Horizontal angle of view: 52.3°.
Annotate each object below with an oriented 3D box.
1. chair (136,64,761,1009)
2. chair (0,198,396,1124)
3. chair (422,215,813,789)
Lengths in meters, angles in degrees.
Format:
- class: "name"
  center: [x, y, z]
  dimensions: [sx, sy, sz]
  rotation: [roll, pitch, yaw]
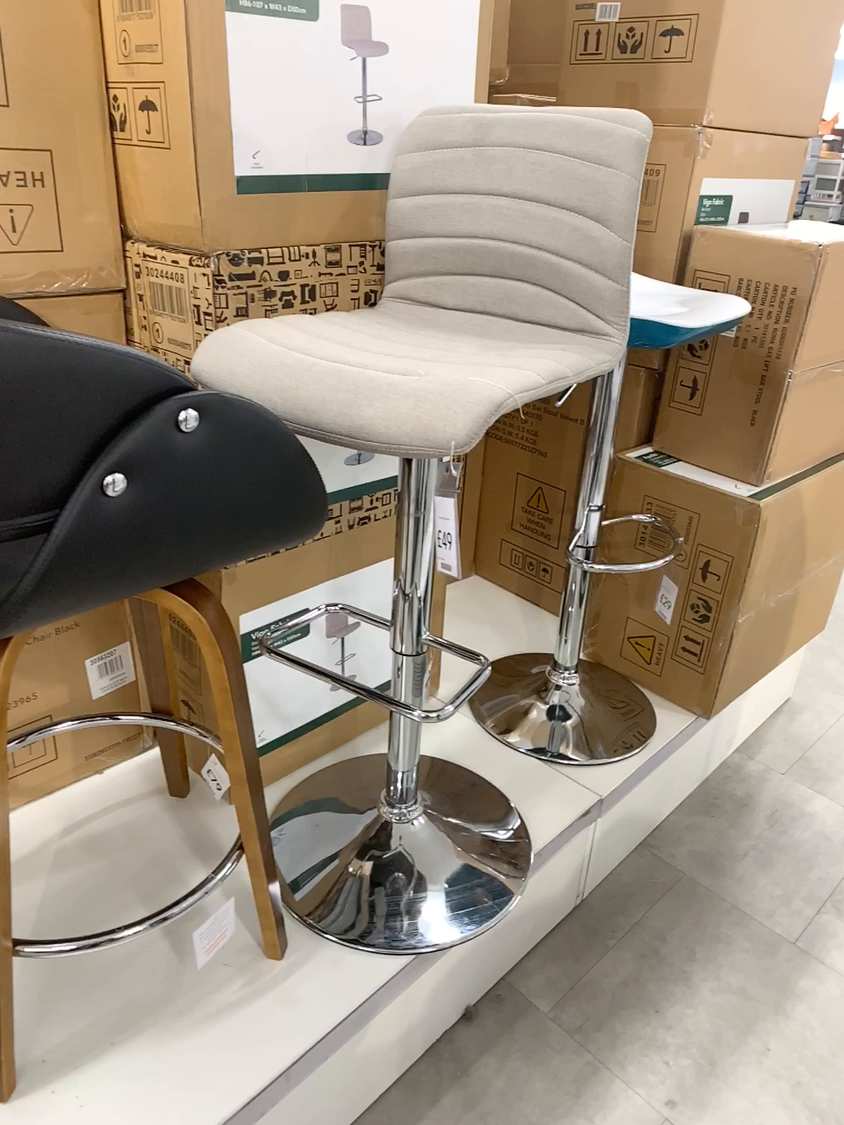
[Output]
- class: "chair"
  center: [0.016, -0.062, 1.135]
  dimensions: [0.466, 0.985, 0.510]
  rotation: [22, 30, 34]
- class: "chair"
  center: [-0.414, 0.066, 1.014]
  dimensions: [0.490, 0.866, 0.536]
  rotation: [-20, 34, -41]
- class: "chair"
  center: [0.305, -0.131, 1.472]
  dimensions: [0.389, 0.826, 0.406]
  rotation: [22, 30, 34]
